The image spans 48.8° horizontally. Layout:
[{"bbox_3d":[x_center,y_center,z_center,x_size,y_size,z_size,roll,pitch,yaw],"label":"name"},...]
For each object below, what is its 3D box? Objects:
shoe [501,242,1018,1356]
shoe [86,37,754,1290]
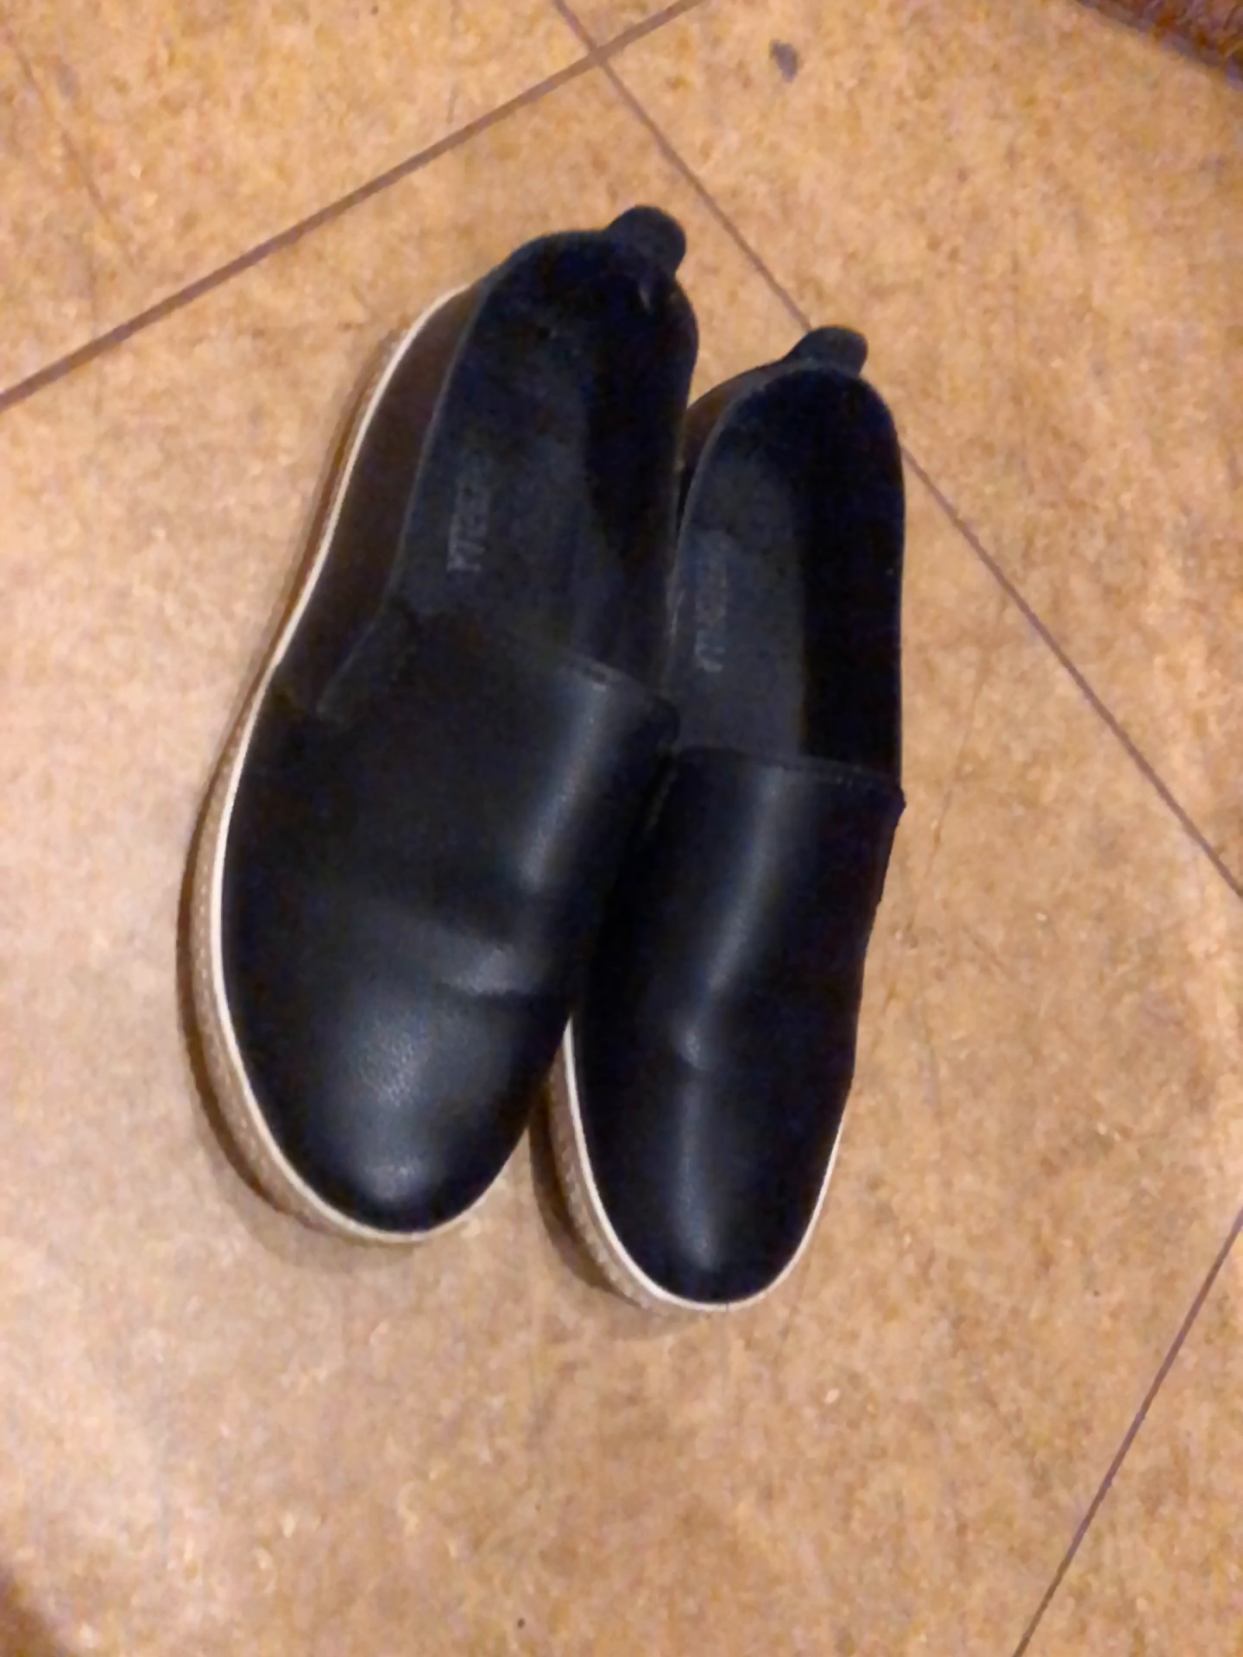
[{"bbox_3d":[0.036,-0.004,0.333,0.090,0.070,0.240,11,73,-26],"label":"shoe"},{"bbox_3d":[-0.038,-0.032,0.299,0.090,0.070,0.240,15,72,-25],"label":"shoe"}]
